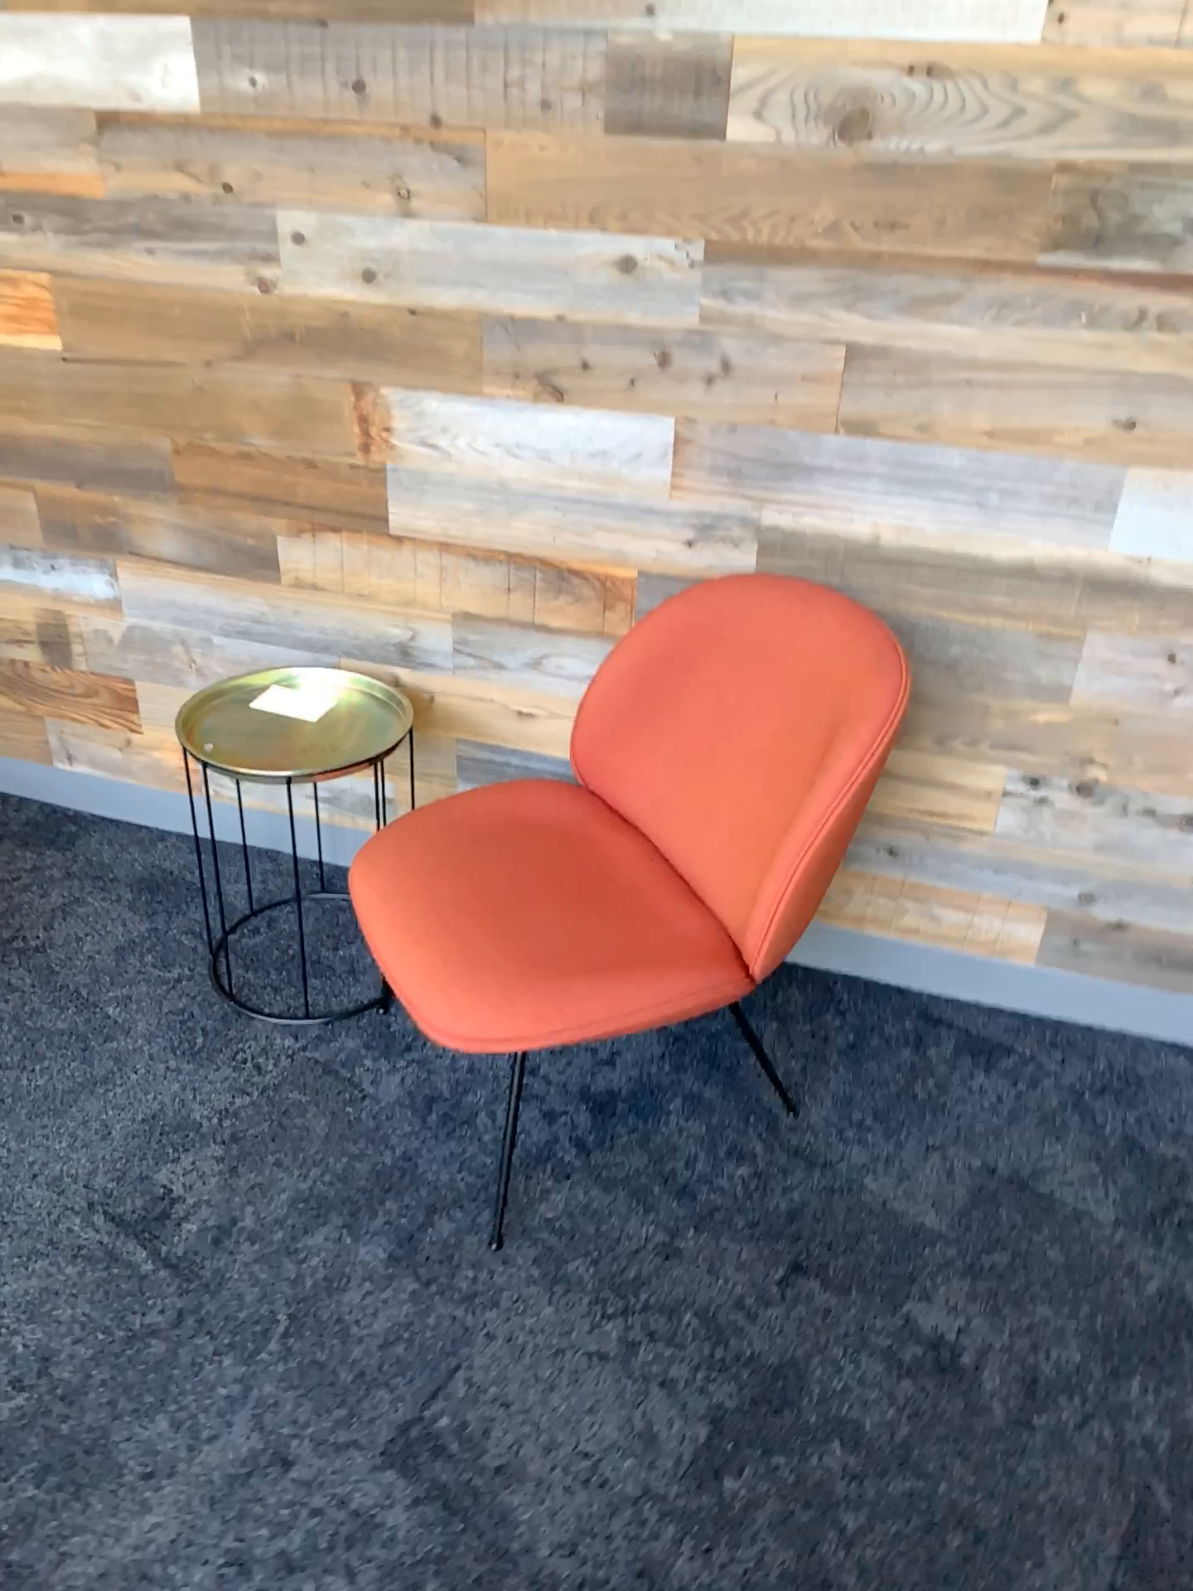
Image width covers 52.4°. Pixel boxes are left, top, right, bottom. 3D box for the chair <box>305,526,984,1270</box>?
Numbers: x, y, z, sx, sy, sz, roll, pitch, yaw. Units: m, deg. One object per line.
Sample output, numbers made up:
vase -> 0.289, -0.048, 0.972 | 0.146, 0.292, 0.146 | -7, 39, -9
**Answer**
chair -> 0.035, 0.098, 1.798 | 0.710, 0.756, 0.573 | -14, 34, -25
